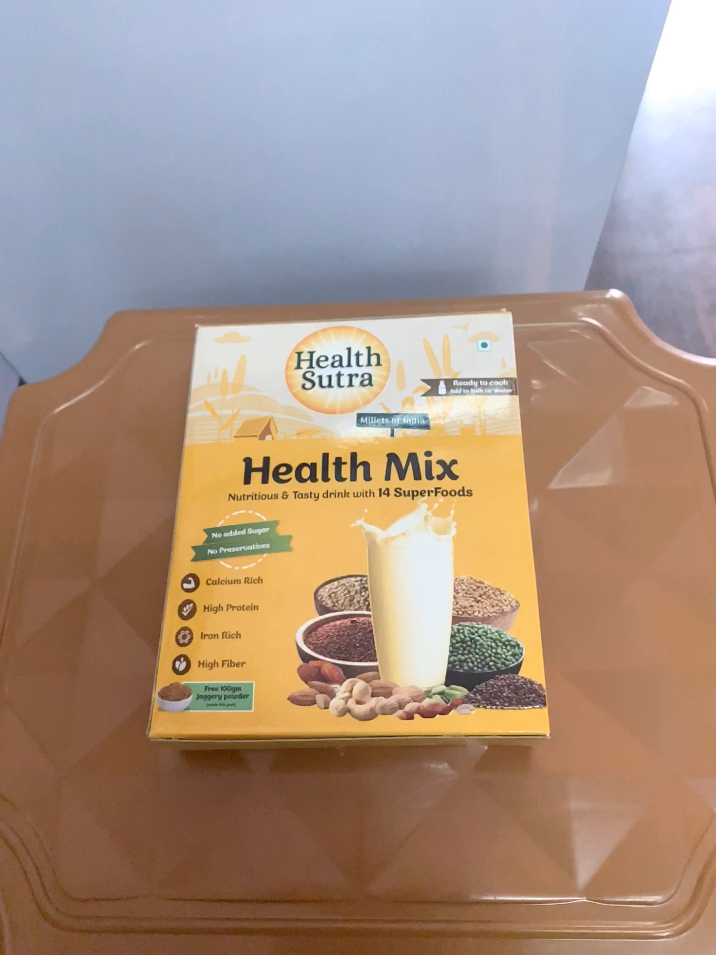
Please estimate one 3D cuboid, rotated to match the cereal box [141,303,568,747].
[{"bbox_3d":[-0.001,0.014,0.278,0.130,0.040,0.160,-1,65,2],"label":"cereal box"}]
